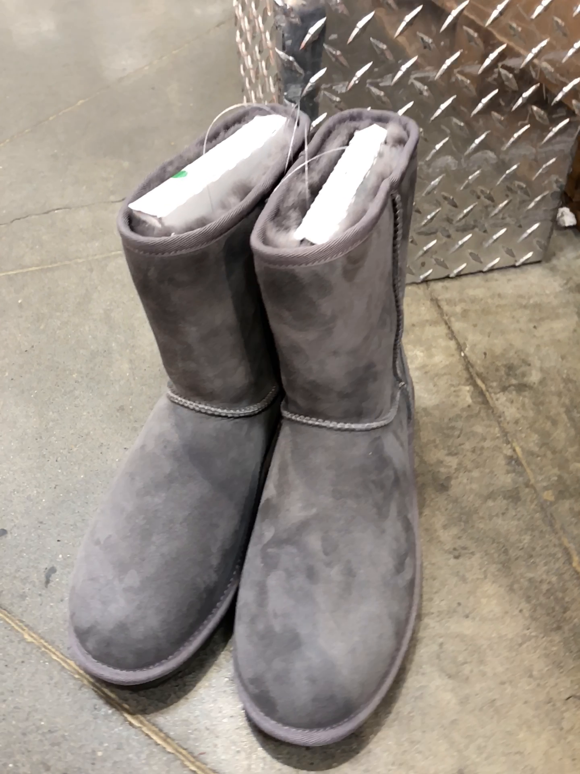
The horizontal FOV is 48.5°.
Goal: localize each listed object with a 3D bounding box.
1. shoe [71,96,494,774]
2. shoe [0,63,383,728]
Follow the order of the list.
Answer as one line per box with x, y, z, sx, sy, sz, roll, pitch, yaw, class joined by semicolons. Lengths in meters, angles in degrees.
0.028;0.024;0.348;0.110;0.239;0.271;8;48;11;shoe
-0.052;-0.004;0.374;0.120;0.239;0.281;15;50;17;shoe
